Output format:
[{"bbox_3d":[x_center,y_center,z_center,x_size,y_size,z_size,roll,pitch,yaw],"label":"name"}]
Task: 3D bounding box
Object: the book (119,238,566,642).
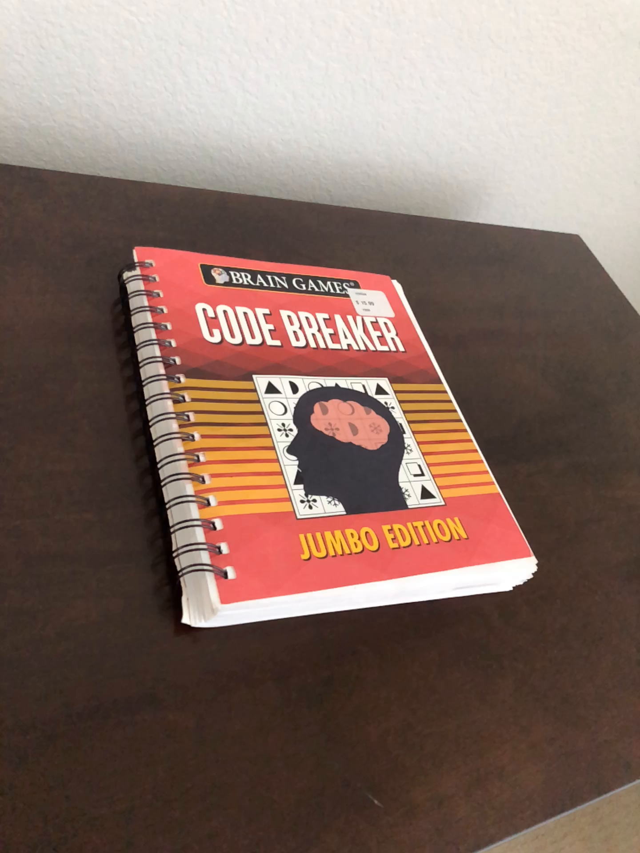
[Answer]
[{"bbox_3d":[0.007,-0.008,0.402,0.203,0.030,0.224,0,55,-28],"label":"book"}]
